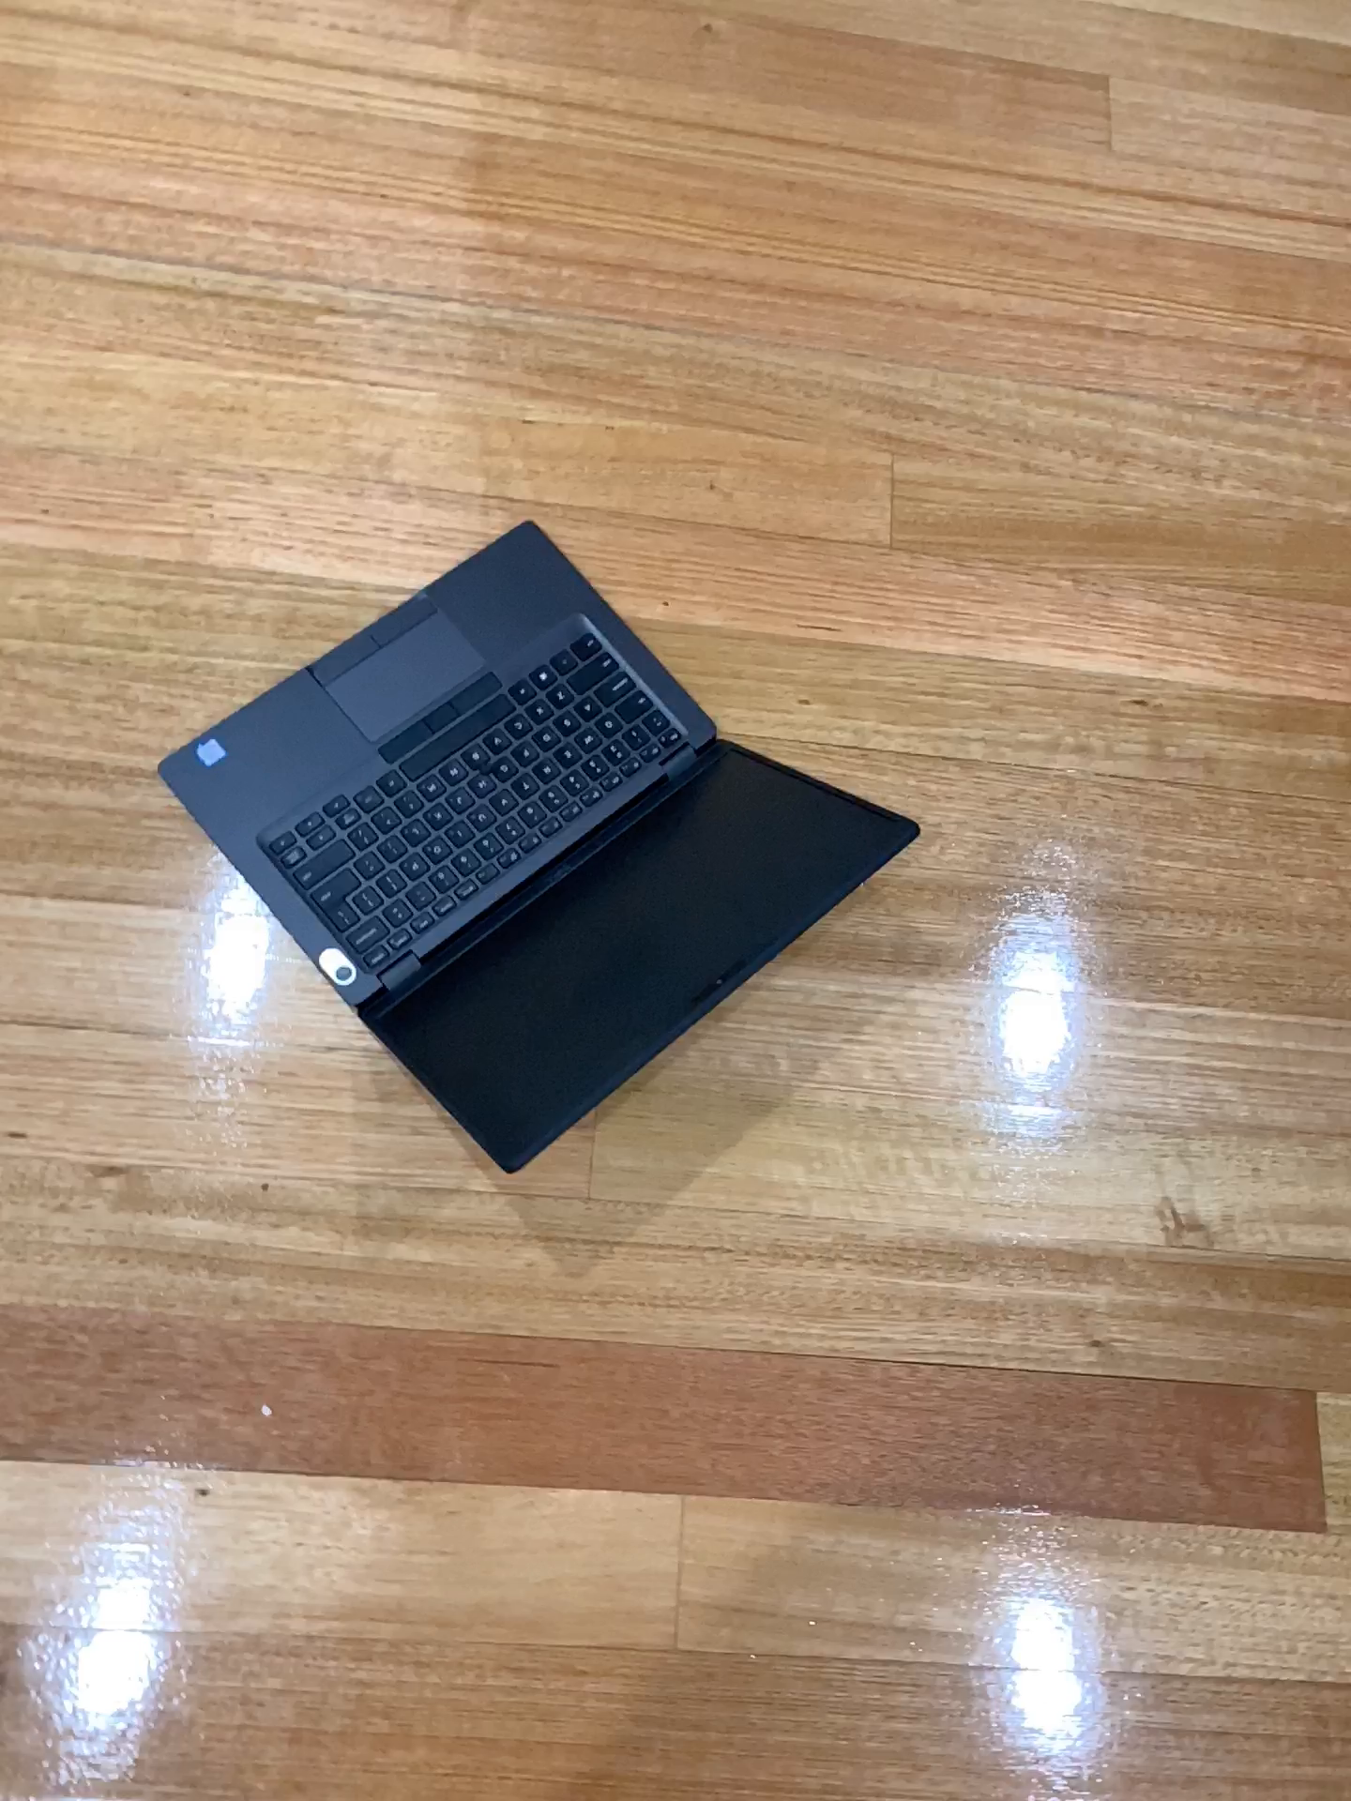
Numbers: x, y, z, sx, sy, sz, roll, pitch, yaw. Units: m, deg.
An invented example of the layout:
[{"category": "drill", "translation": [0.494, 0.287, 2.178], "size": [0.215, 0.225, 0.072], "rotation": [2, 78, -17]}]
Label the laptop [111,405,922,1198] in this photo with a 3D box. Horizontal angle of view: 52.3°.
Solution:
[{"category": "laptop", "translation": [-0.098, -0.067, 0.885], "size": [0.321, 0.134, 0.372], "rotation": [-39, 81, -16]}]
